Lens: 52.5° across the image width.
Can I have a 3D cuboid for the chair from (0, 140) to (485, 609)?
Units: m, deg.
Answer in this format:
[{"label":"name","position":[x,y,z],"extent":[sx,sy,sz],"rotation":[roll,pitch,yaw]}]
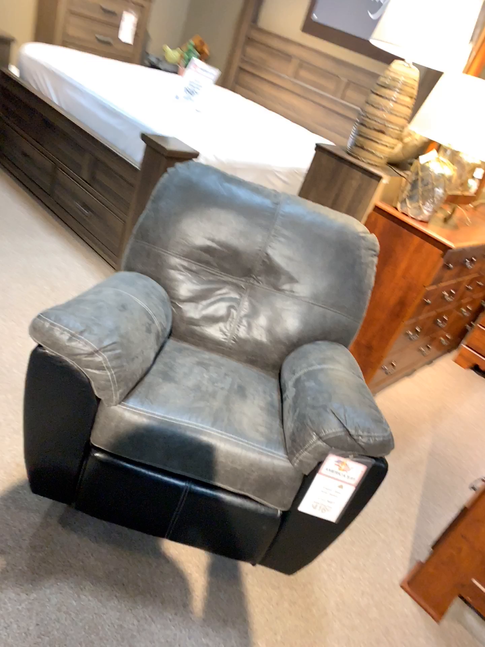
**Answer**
[{"label":"chair","position":[-0.042,0.103,1.619],"extent":[0.988,0.922,0.909],"rotation":[19,29,-4]}]
